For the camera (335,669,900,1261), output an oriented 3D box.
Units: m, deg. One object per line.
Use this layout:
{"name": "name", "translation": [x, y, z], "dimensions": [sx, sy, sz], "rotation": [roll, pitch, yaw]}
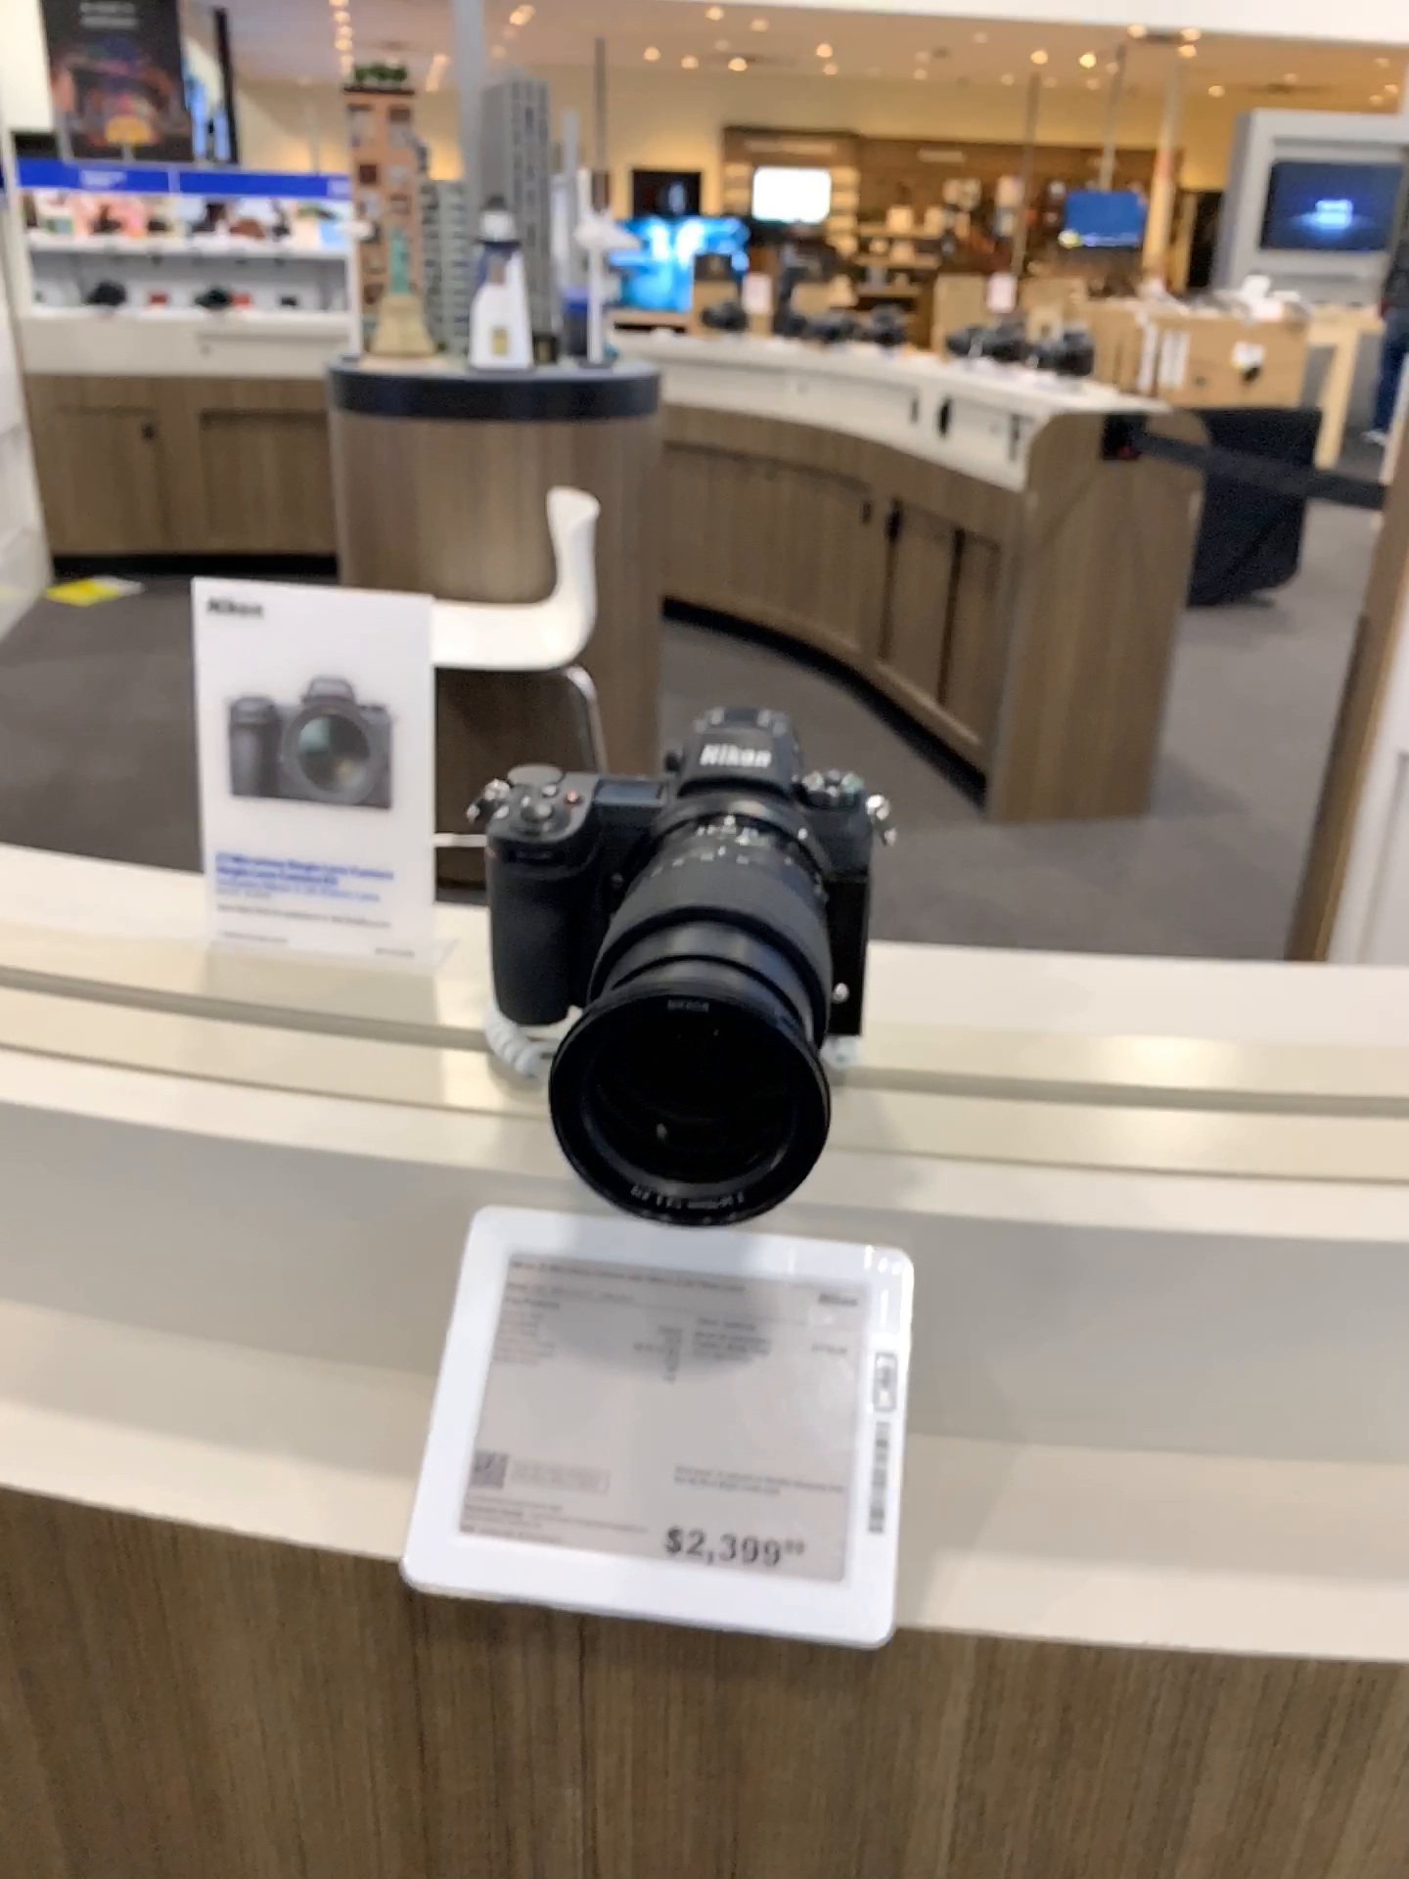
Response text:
{"name": "camera", "translation": [-0.013, -0.008, 0.475], "dimensions": [0.140, 0.099, 0.211], "rotation": [4, 26, 5]}
